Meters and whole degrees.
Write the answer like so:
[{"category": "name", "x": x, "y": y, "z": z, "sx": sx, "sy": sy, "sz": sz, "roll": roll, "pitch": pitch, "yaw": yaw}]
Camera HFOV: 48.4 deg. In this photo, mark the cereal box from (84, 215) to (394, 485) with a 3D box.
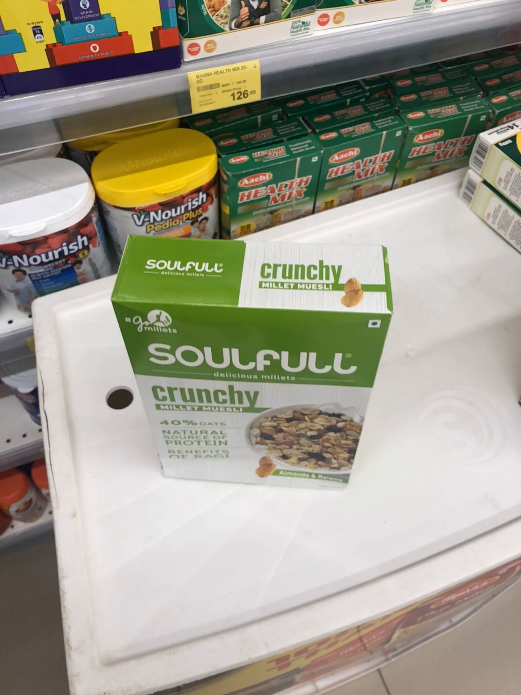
[{"category": "cereal box", "x": -0.007, "y": 0.019, "z": 0.455, "sx": 0.180, "sy": 0.249, "sz": 0.070, "roll": 4, "pitch": 55, "yaw": 5}]
